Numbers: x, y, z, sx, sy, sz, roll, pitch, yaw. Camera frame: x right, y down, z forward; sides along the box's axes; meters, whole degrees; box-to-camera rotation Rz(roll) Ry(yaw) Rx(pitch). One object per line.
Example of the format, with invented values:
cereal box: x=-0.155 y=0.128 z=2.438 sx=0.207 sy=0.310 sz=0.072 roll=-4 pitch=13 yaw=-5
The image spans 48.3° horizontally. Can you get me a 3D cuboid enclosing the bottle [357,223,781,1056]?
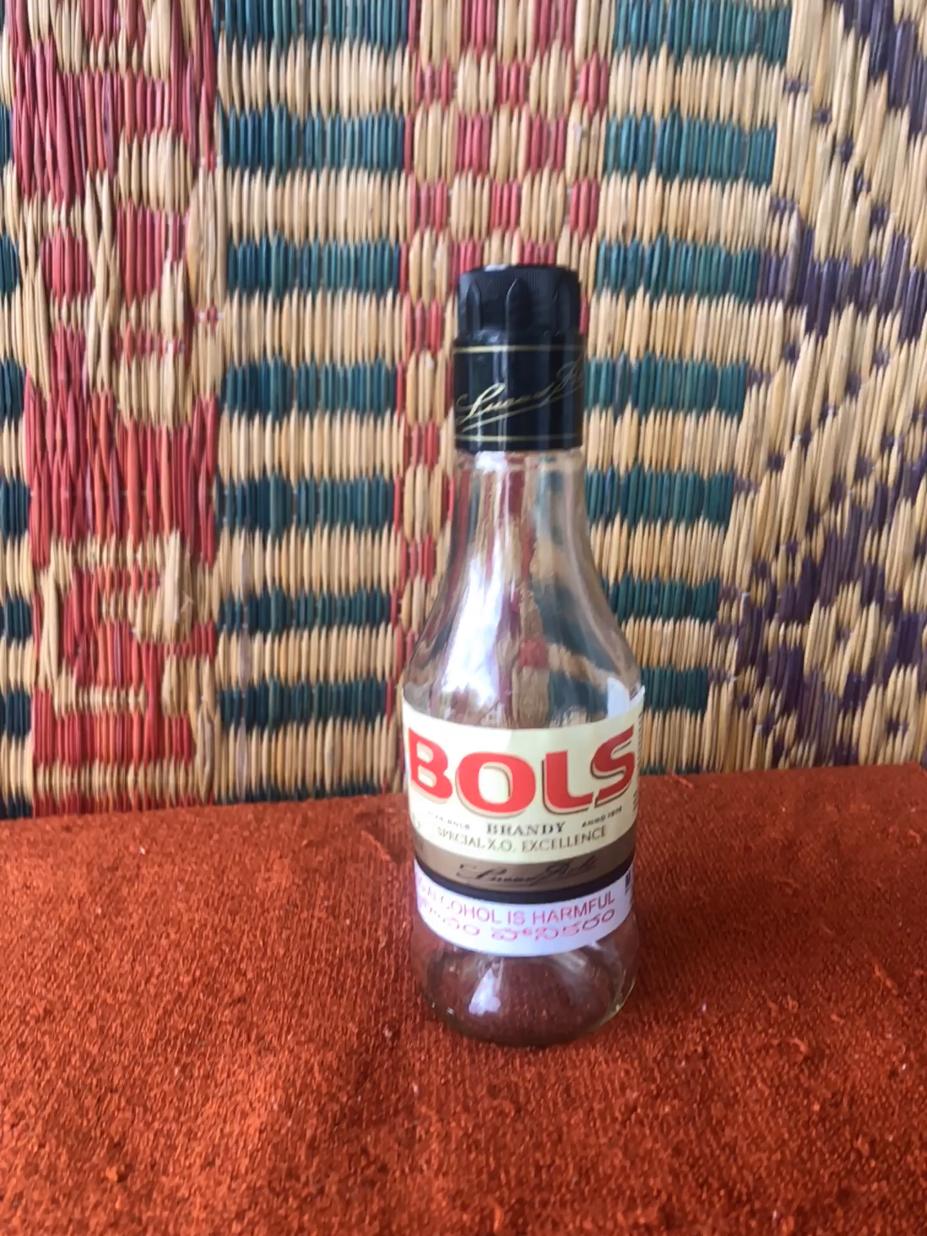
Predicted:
bottle: x=0.015 y=0.004 z=0.220 sx=0.070 sy=0.159 sz=0.060 roll=0 pitch=16 yaw=-3
